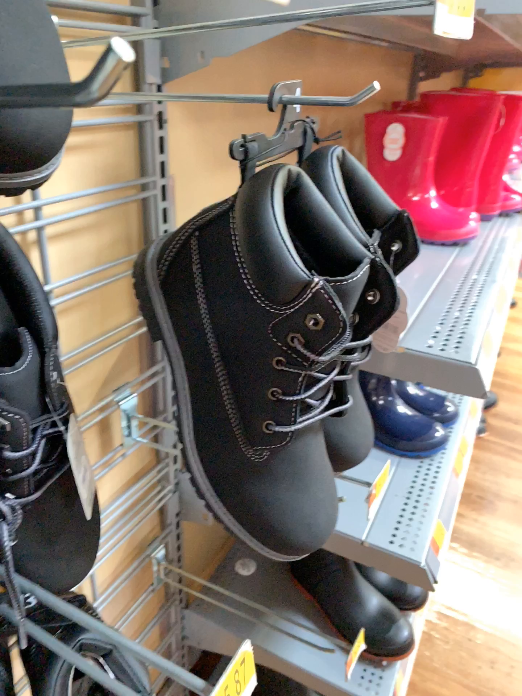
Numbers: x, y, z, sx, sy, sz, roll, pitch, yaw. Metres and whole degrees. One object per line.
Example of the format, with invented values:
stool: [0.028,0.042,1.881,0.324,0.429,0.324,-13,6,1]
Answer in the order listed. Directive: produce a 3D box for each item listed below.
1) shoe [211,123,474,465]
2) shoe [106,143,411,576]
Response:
shoe: [0.067,-0.037,0.392,0.120,0.205,0.100,-3,20,35]
shoe: [0.009,0.005,0.343,0.110,0.229,0.100,-2,19,34]
